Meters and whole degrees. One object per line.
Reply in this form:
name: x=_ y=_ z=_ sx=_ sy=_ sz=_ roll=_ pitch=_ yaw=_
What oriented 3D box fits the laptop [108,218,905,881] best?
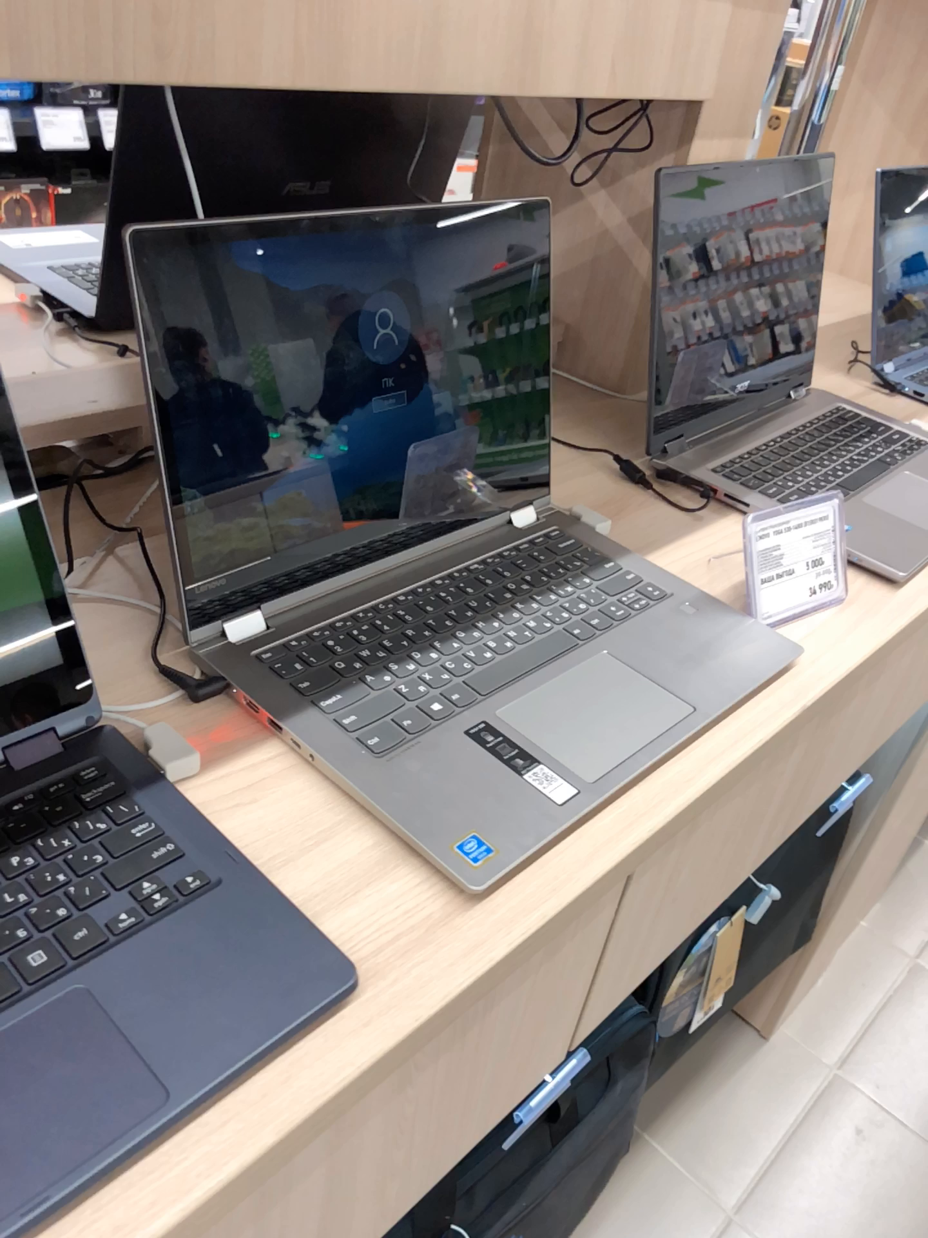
laptop: x=0.022 y=-0.081 z=0.581 sx=0.287 sy=0.205 sz=0.312 roll=31 pitch=35 yaw=29
